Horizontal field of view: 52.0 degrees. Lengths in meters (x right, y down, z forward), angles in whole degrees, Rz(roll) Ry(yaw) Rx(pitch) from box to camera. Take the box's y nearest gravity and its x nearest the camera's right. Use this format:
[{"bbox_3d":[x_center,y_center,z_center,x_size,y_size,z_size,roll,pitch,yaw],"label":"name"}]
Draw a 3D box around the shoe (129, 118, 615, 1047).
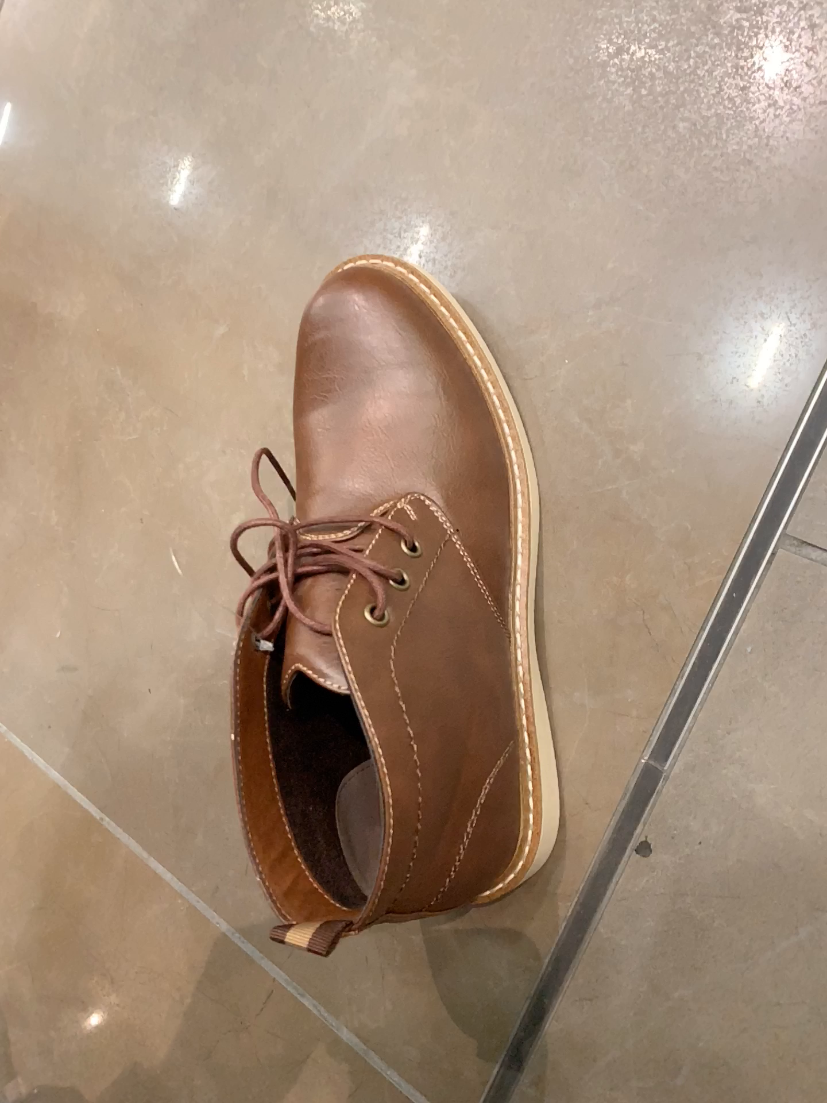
[{"bbox_3d":[-0.015,0.011,0.342,0.107,0.120,0.295,-13,81,29],"label":"shoe"}]
